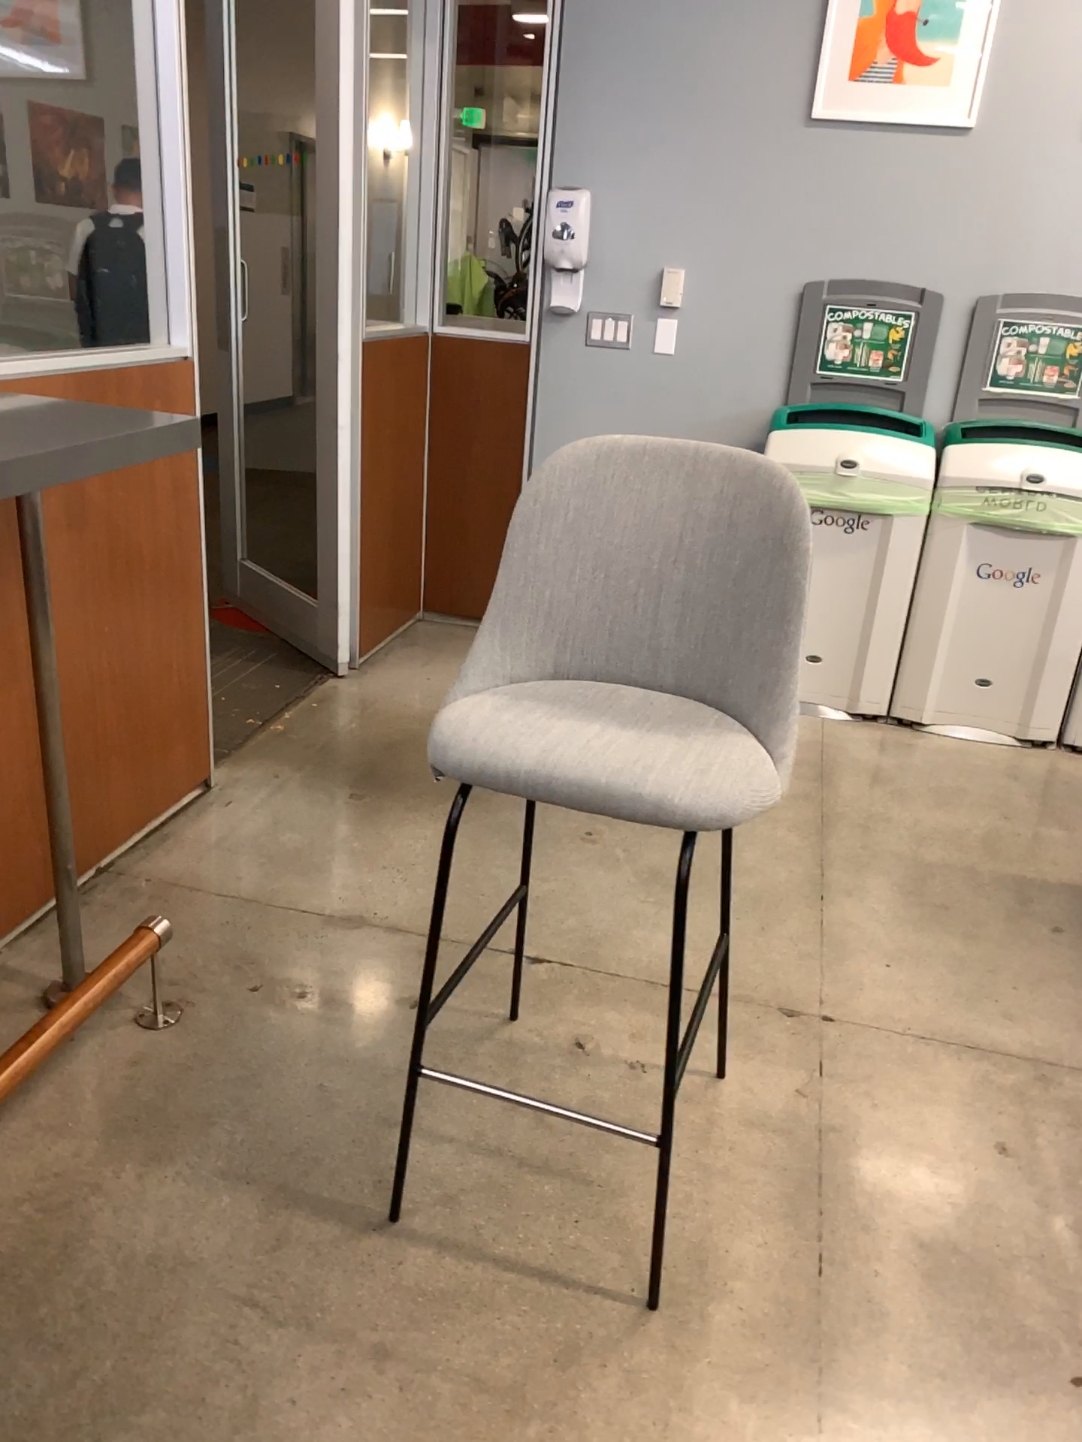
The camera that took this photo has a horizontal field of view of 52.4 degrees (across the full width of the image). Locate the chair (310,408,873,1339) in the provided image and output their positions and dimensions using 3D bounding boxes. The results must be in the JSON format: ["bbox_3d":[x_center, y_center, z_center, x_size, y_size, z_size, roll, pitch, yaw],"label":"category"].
[{"bbox_3d":[0.102,0.139,1.726,0.591,1.095,0.813,11,22,15],"label":"chair"}]
